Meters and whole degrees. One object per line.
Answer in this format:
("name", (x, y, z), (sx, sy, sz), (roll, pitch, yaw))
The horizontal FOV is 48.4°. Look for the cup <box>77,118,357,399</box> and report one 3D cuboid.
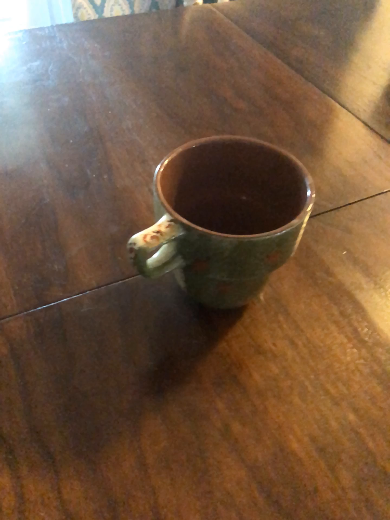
("cup", (0.012, -0.005, 0.294), (0.130, 0.110, 0.100), (-29, 56, -26))
